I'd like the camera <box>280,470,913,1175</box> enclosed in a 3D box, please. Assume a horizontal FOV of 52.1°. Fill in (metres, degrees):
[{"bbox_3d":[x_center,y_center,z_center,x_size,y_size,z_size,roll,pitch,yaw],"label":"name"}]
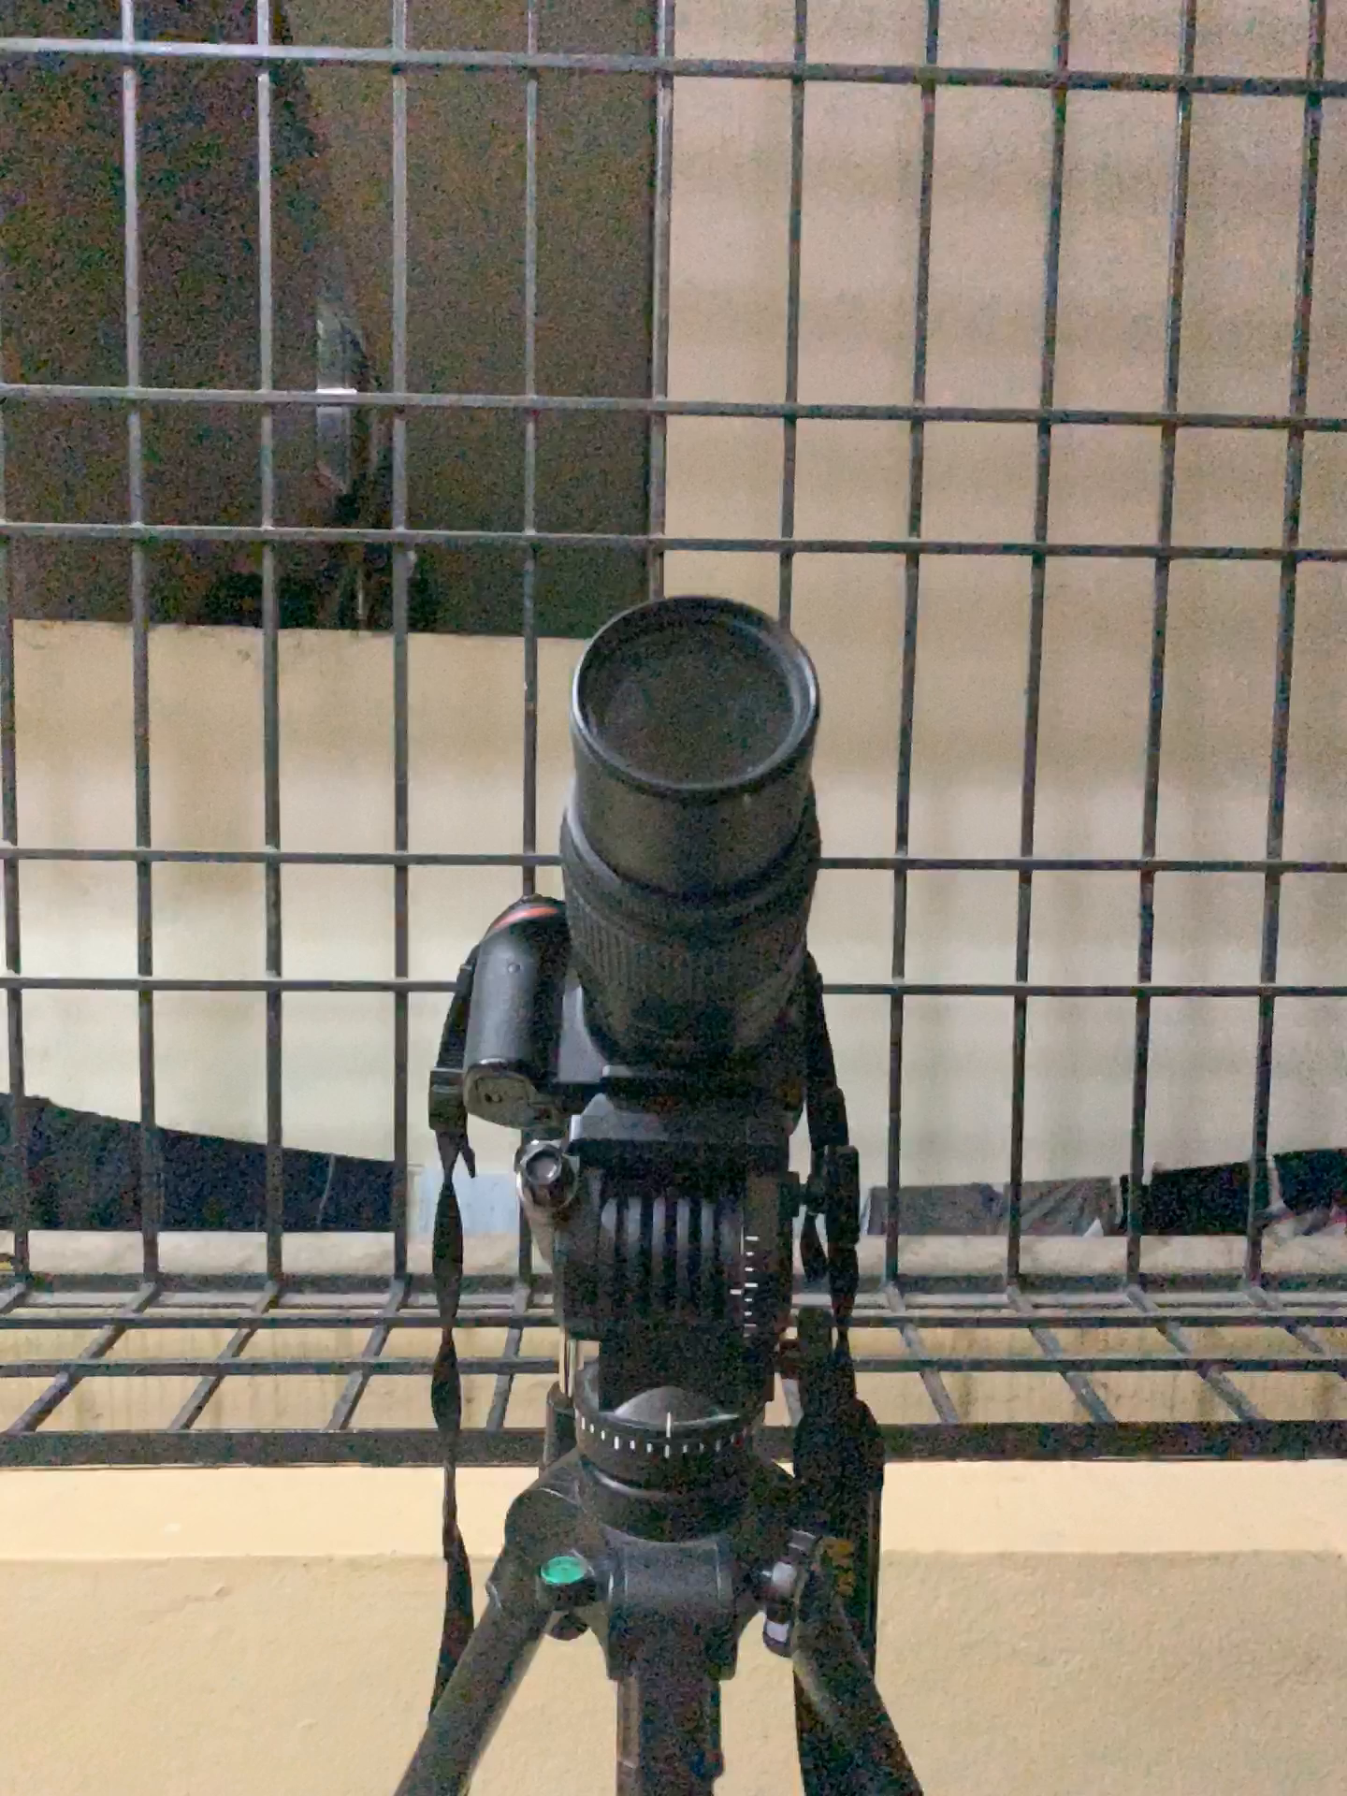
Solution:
[{"bbox_3d":[-0.015,-0.008,0.410,0.136,0.101,0.209,1,-34,1],"label":"camera"}]
